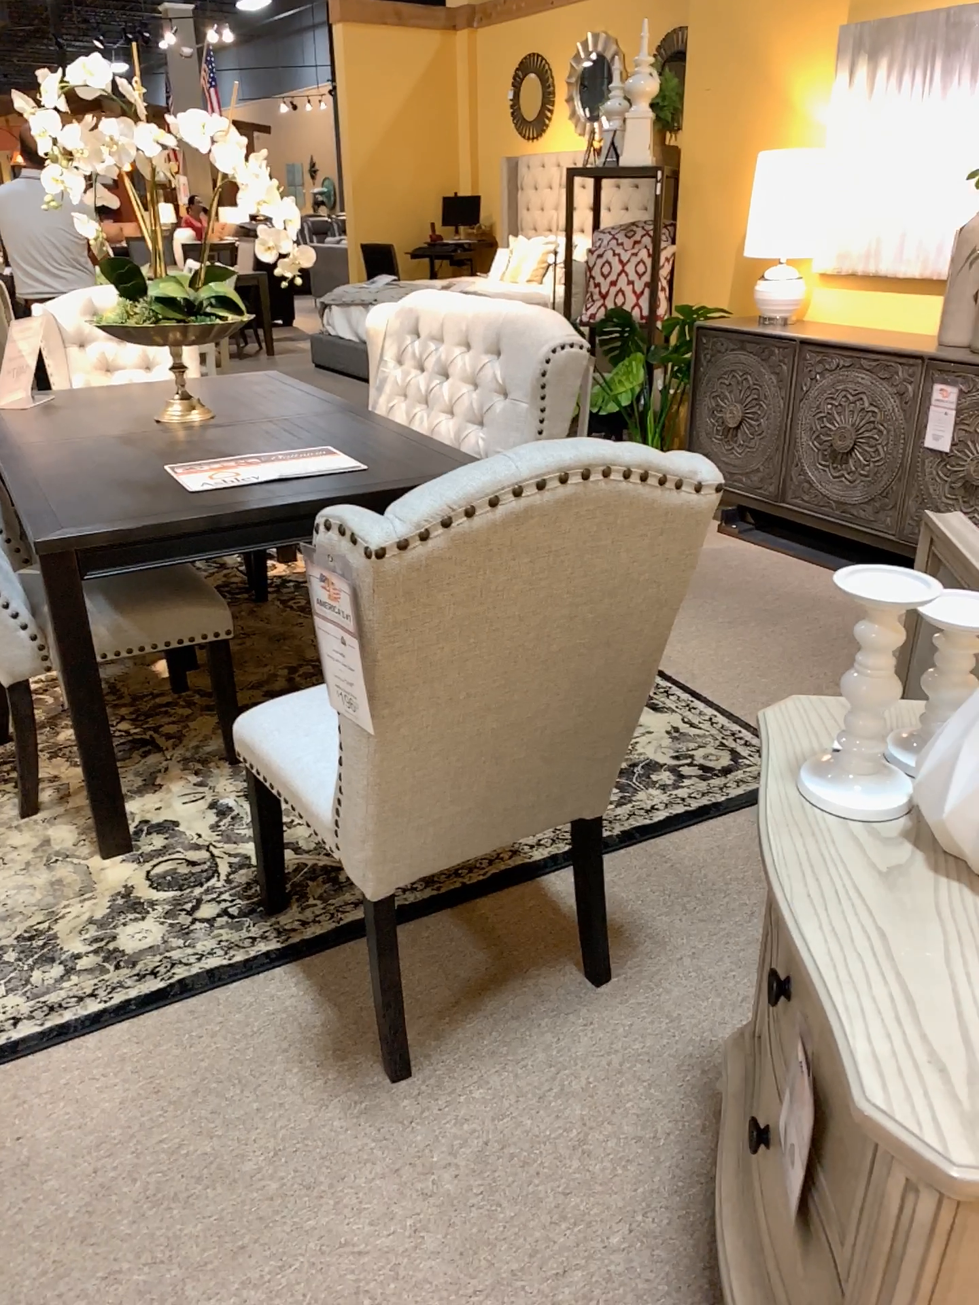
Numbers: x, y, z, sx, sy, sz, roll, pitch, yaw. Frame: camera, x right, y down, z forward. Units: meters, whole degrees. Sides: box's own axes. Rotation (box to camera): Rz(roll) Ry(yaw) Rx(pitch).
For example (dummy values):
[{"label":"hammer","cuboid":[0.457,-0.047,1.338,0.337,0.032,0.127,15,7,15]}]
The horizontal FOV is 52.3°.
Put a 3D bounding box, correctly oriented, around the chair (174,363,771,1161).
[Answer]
[{"label":"chair","cuboid":[-0.066,0.089,1.660,0.587,0.973,0.744,-14,27,-27]}]
